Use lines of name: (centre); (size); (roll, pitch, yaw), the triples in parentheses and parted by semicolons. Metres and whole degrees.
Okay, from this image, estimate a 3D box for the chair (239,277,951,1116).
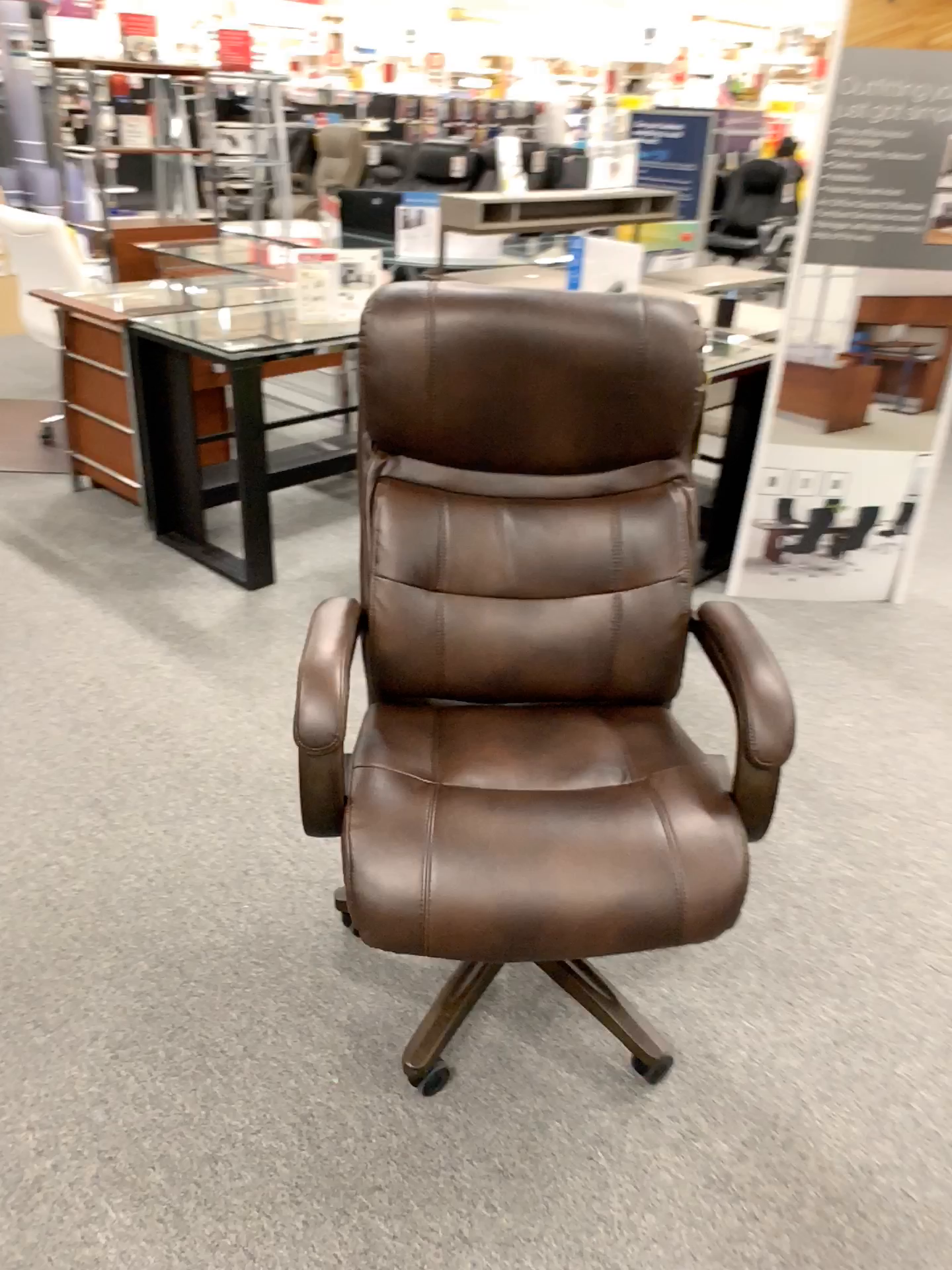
chair: (0.097, 0.080, 1.541); (0.750, 1.094, 0.704); (1, 28, -4)
